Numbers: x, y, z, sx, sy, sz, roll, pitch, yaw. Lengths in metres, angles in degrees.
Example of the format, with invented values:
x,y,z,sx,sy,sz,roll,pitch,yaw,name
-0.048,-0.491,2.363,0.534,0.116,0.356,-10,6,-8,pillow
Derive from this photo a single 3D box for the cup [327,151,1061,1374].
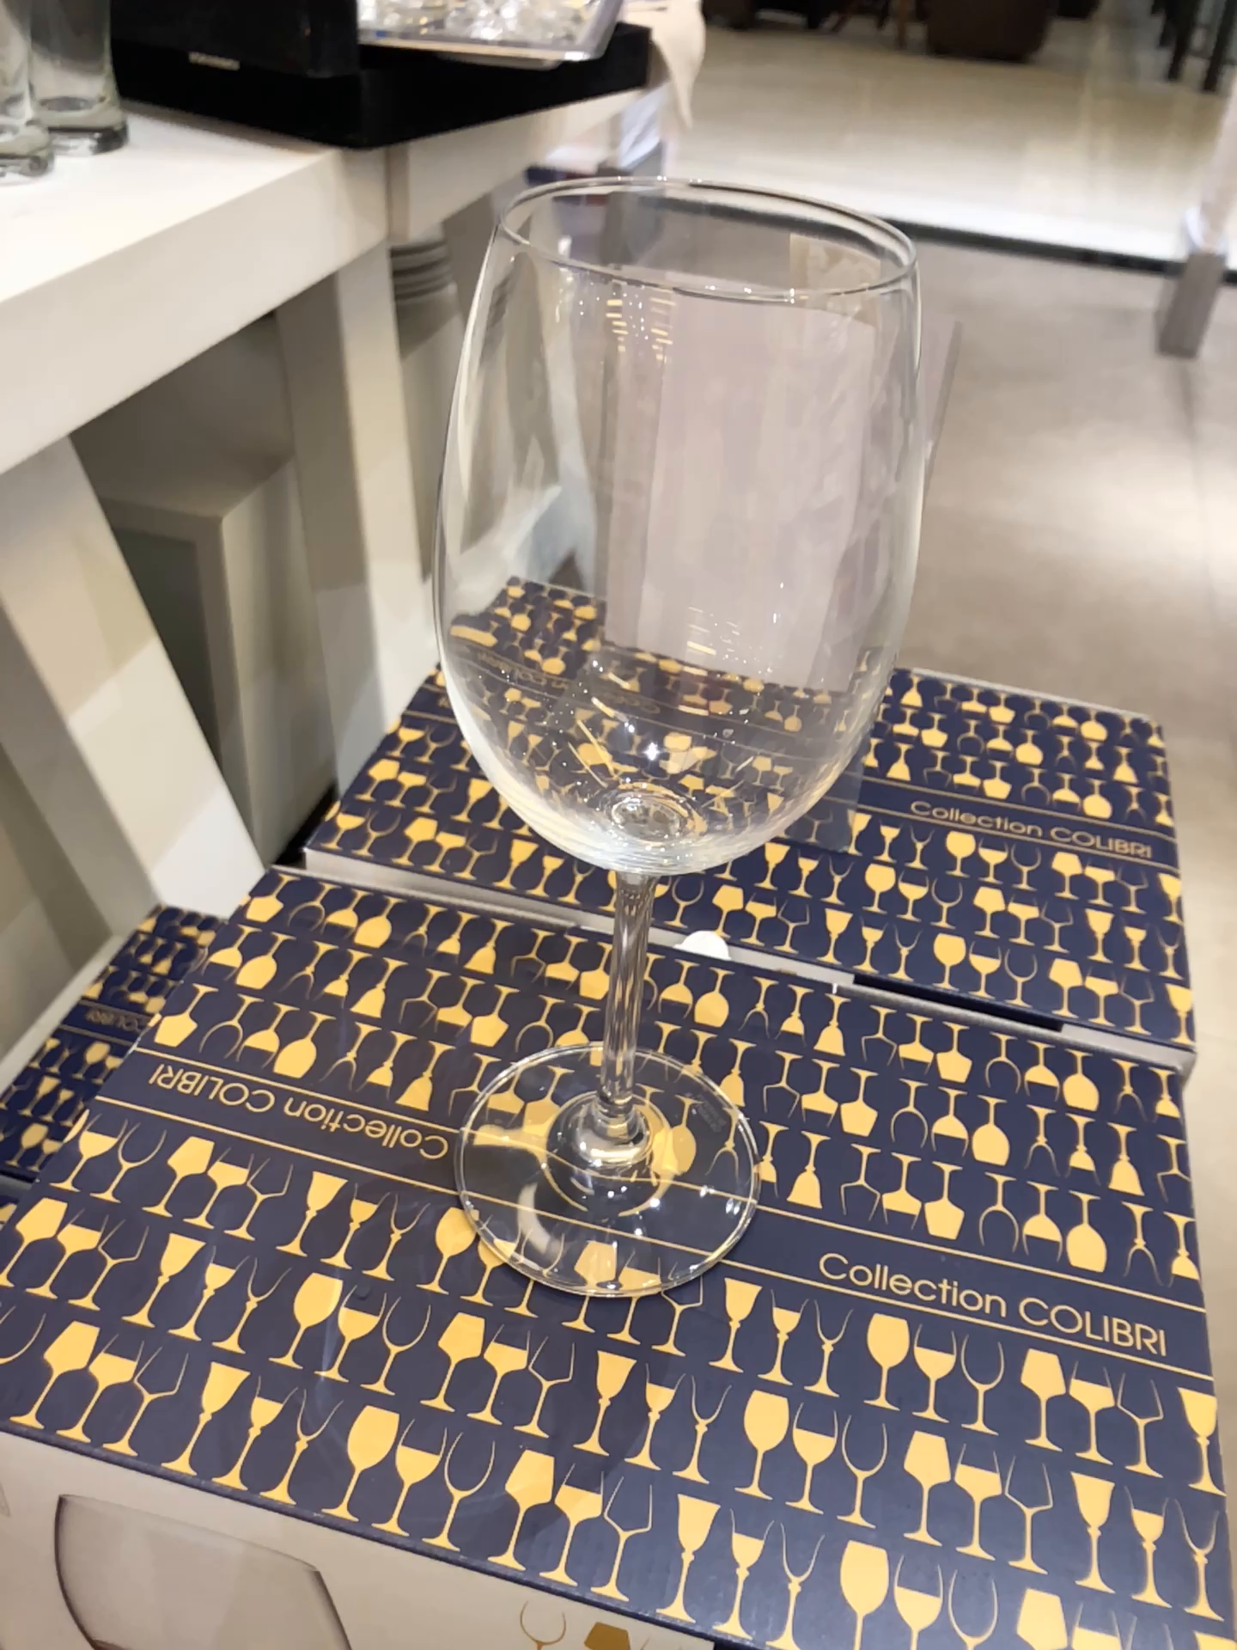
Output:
x,y,z,sx,sy,sz,roll,pitch,yaw,name
0.010,-0.005,0.271,0.090,0.208,0.091,3,37,-3,cup
